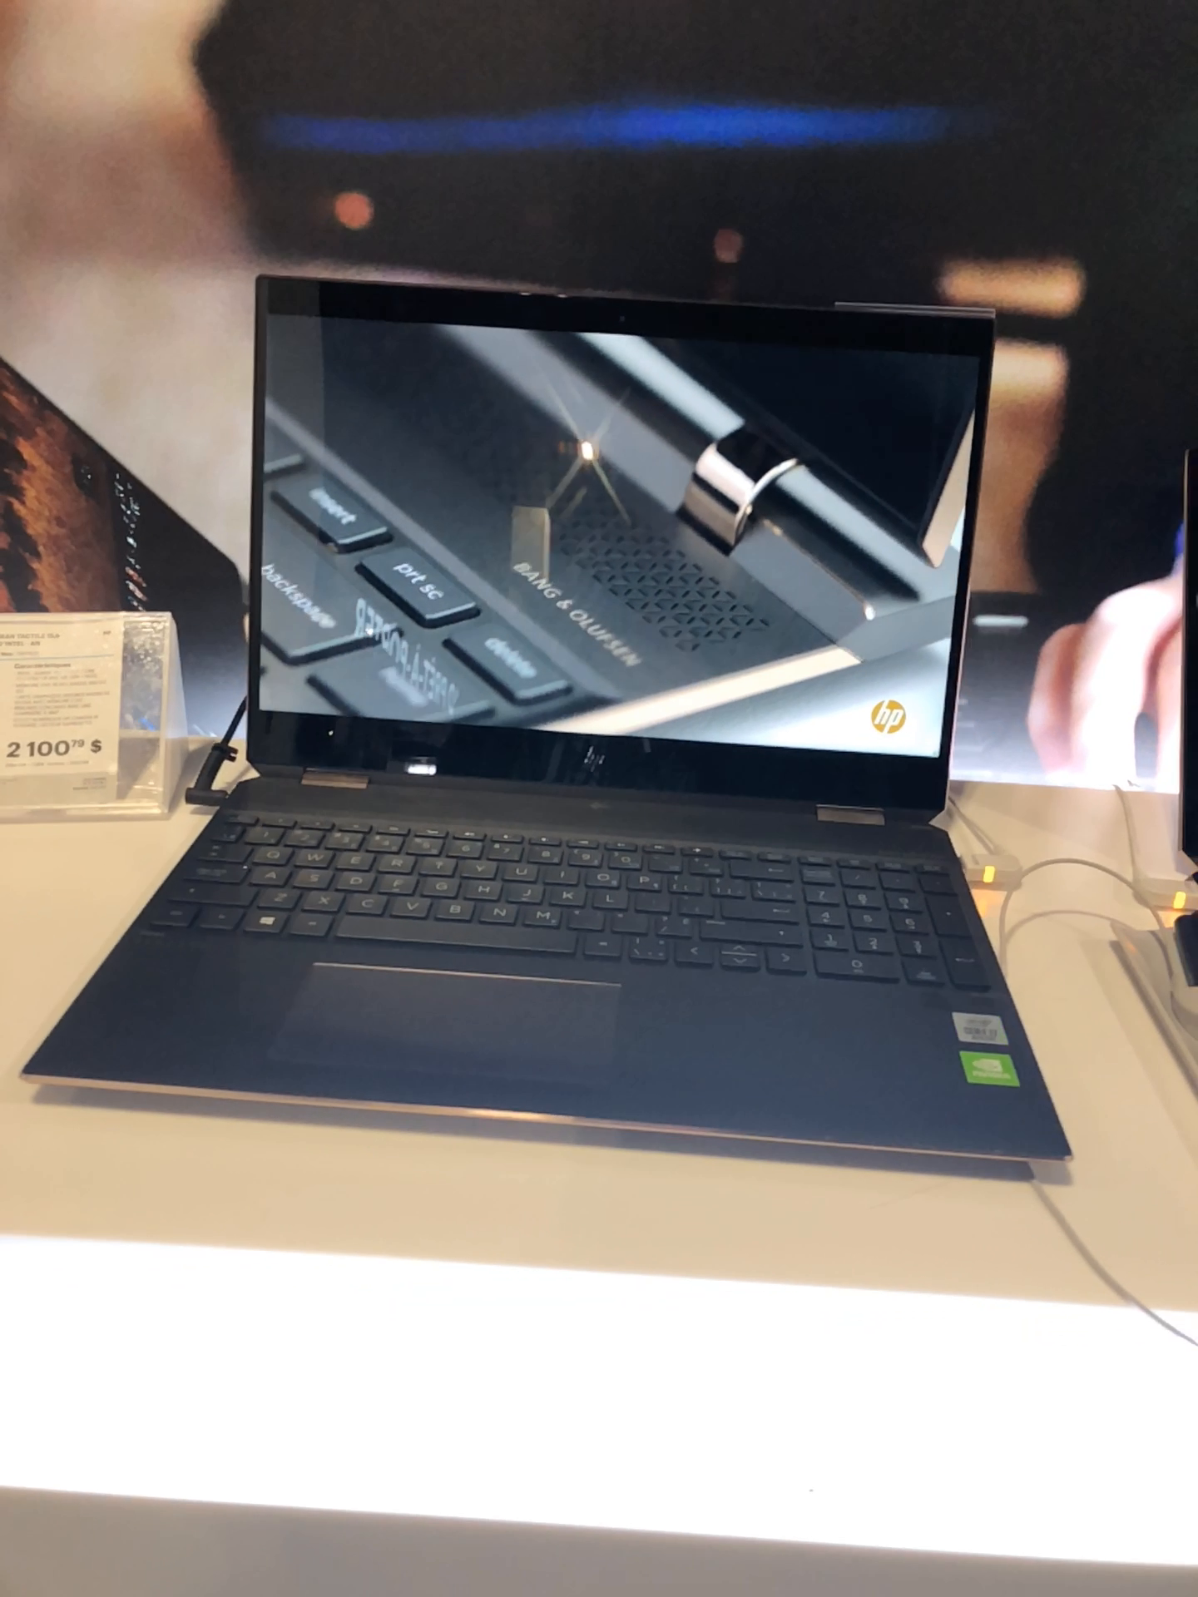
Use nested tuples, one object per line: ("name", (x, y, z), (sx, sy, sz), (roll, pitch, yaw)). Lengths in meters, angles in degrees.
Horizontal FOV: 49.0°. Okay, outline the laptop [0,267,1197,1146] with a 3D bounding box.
("laptop", (-0.005, -0.069, 0.524), (0.332, 0.226, 0.323), (4, 24, 0))
